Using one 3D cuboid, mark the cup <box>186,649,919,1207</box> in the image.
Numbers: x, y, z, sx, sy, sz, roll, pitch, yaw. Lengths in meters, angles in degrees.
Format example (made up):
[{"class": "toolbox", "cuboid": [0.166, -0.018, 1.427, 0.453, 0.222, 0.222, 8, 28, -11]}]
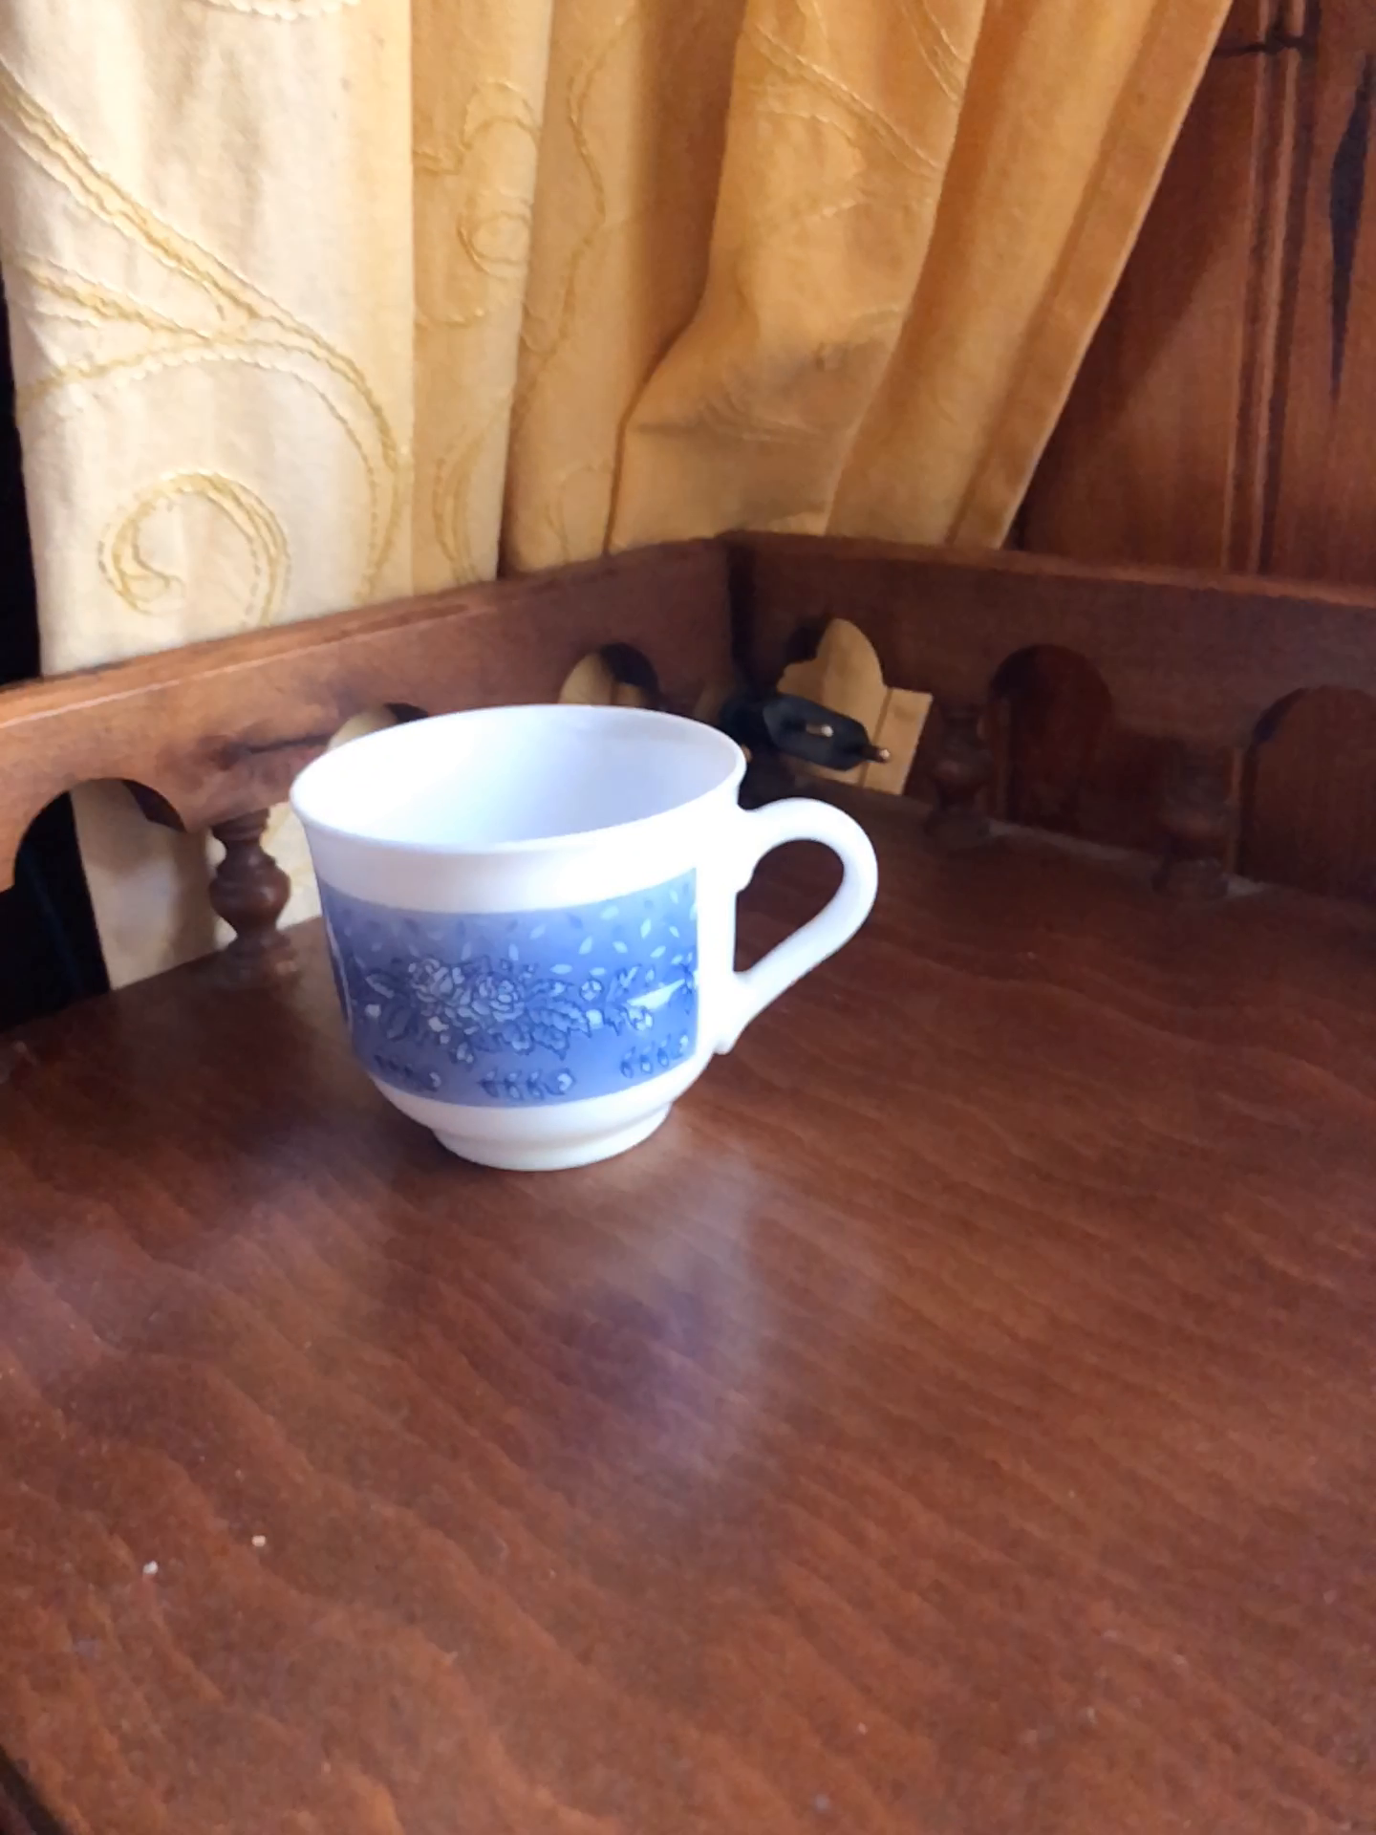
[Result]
[{"class": "cup", "cuboid": [-0.019, -0.003, 0.257, 0.100, 0.060, 0.080, -4, 23, -2]}]
